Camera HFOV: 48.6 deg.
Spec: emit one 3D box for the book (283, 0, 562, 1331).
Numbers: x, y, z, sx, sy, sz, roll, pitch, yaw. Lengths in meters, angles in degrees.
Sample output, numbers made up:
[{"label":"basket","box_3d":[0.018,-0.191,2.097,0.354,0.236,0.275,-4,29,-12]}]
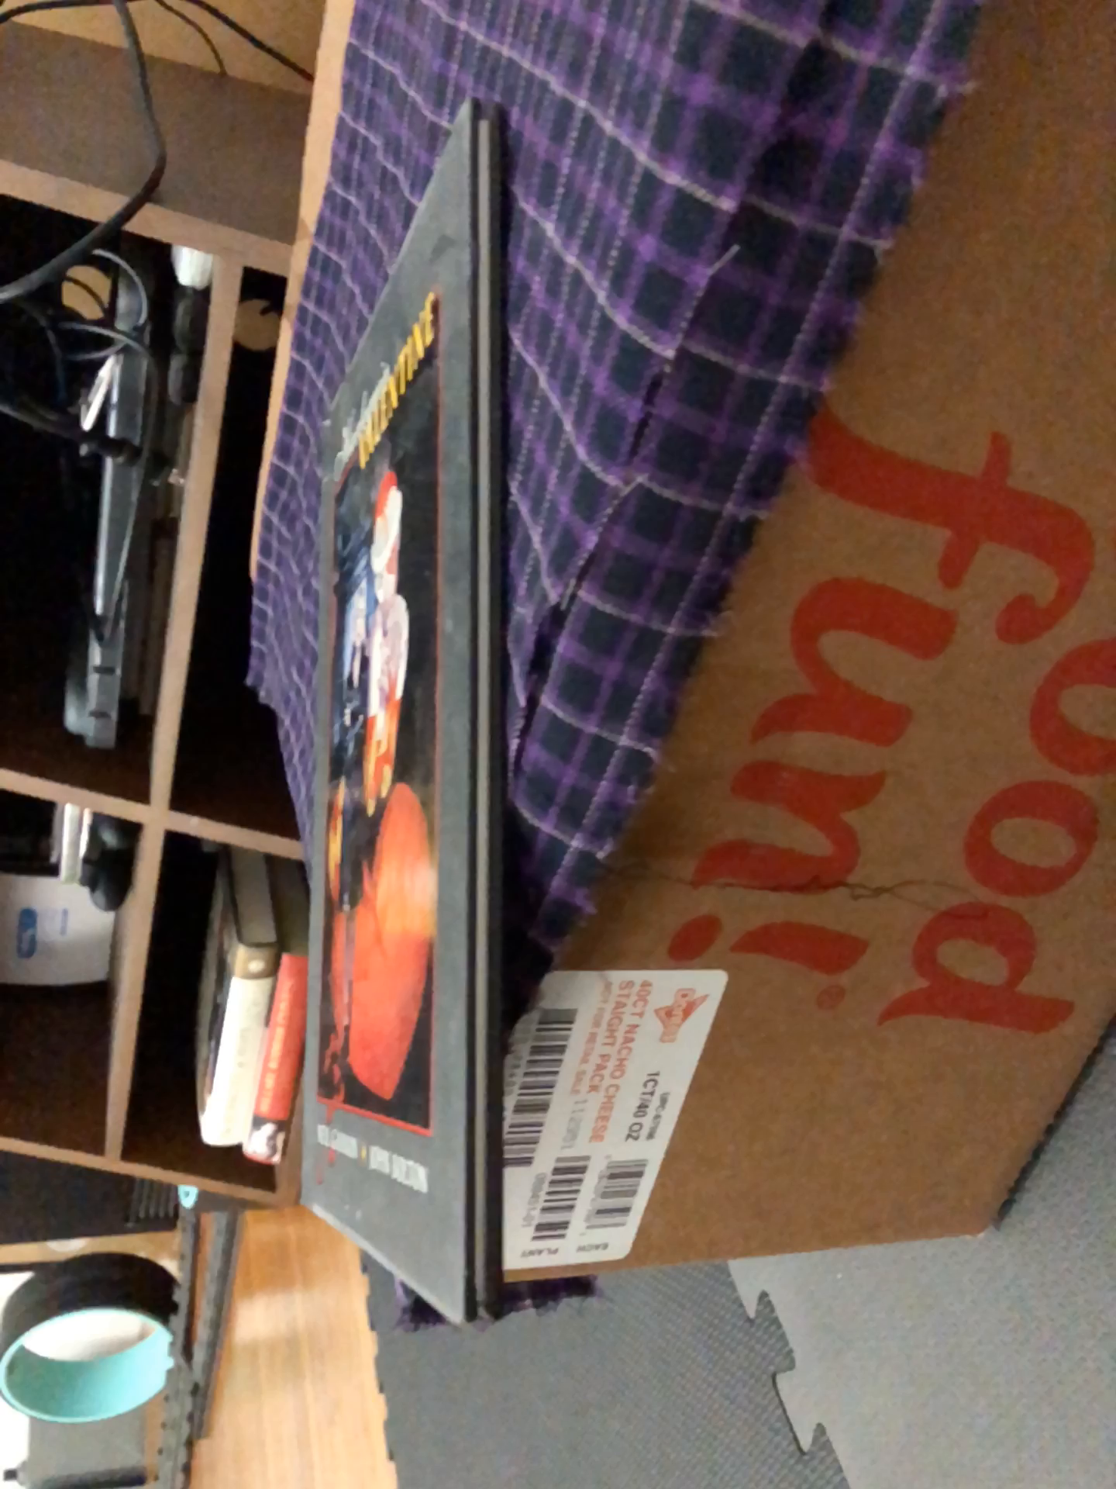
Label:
[{"label":"book","box_3d":[-0.044,-0.014,0.332,0.181,0.020,0.280,149,123,-65]}]
